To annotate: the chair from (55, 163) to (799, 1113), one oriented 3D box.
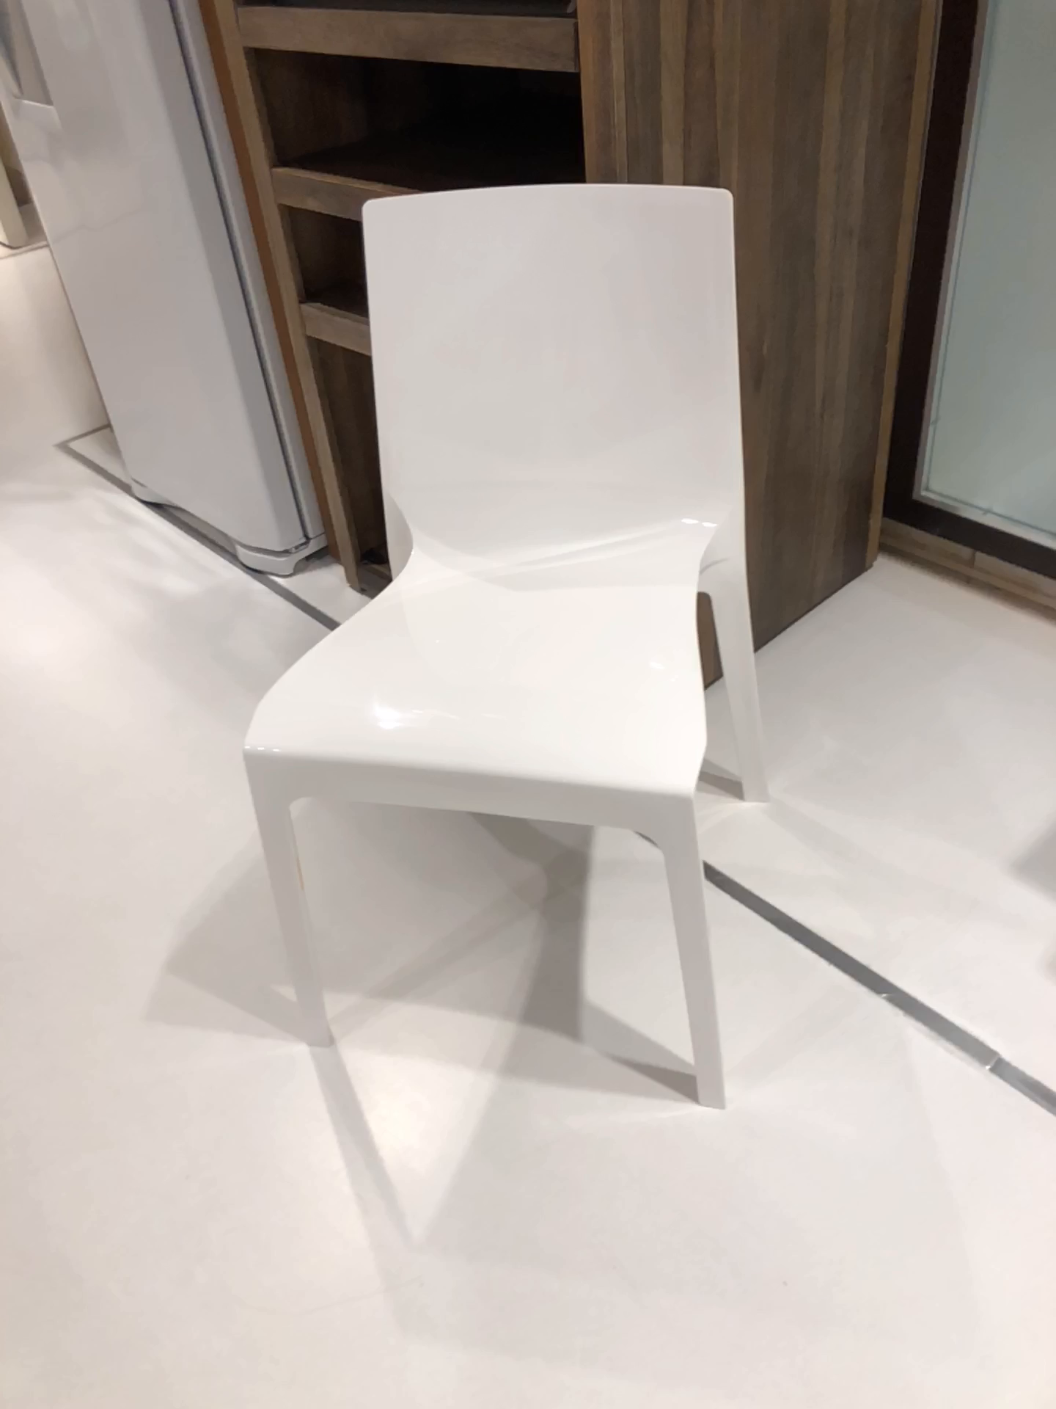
[{"bbox_3d":[-0.003,-0.067,1.172,0.480,0.755,0.523,4,40,13],"label":"chair"}]
